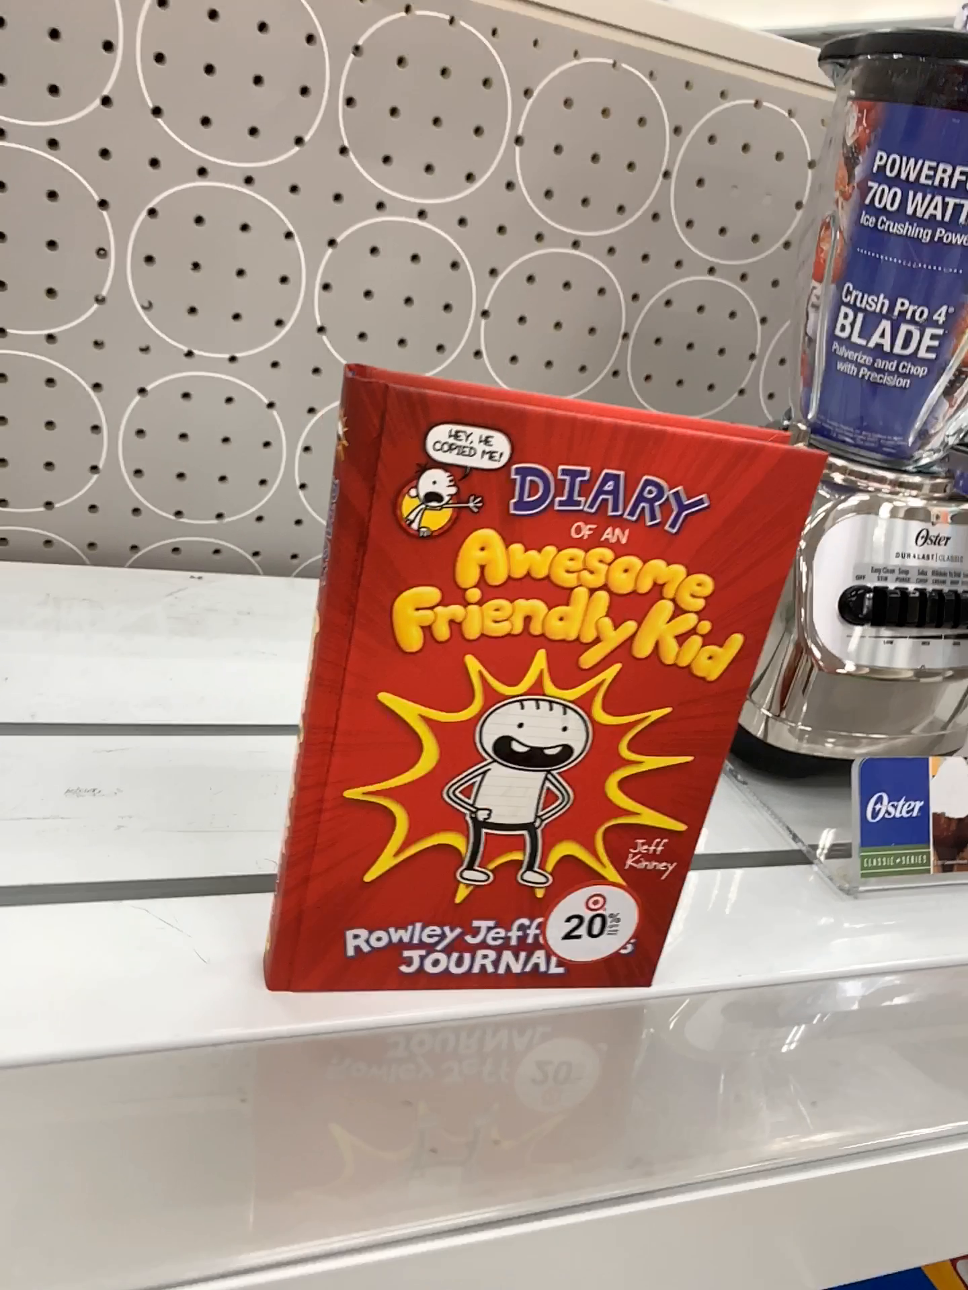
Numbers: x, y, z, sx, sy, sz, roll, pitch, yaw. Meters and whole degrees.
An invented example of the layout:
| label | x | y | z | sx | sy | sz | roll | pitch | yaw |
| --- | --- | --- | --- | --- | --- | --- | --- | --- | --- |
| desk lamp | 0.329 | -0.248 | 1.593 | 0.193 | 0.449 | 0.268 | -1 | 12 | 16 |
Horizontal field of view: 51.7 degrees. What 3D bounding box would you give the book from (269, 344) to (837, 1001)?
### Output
| label | x | y | z | sx | sy | sz | roll | pitch | yaw |
| --- | --- | --- | --- | --- | --- | --- | --- | --- | --- |
| book | 0.013 | 0.022 | 0.325 | 0.140 | 0.209 | 0.030 | 4 | 24 | -17 |
